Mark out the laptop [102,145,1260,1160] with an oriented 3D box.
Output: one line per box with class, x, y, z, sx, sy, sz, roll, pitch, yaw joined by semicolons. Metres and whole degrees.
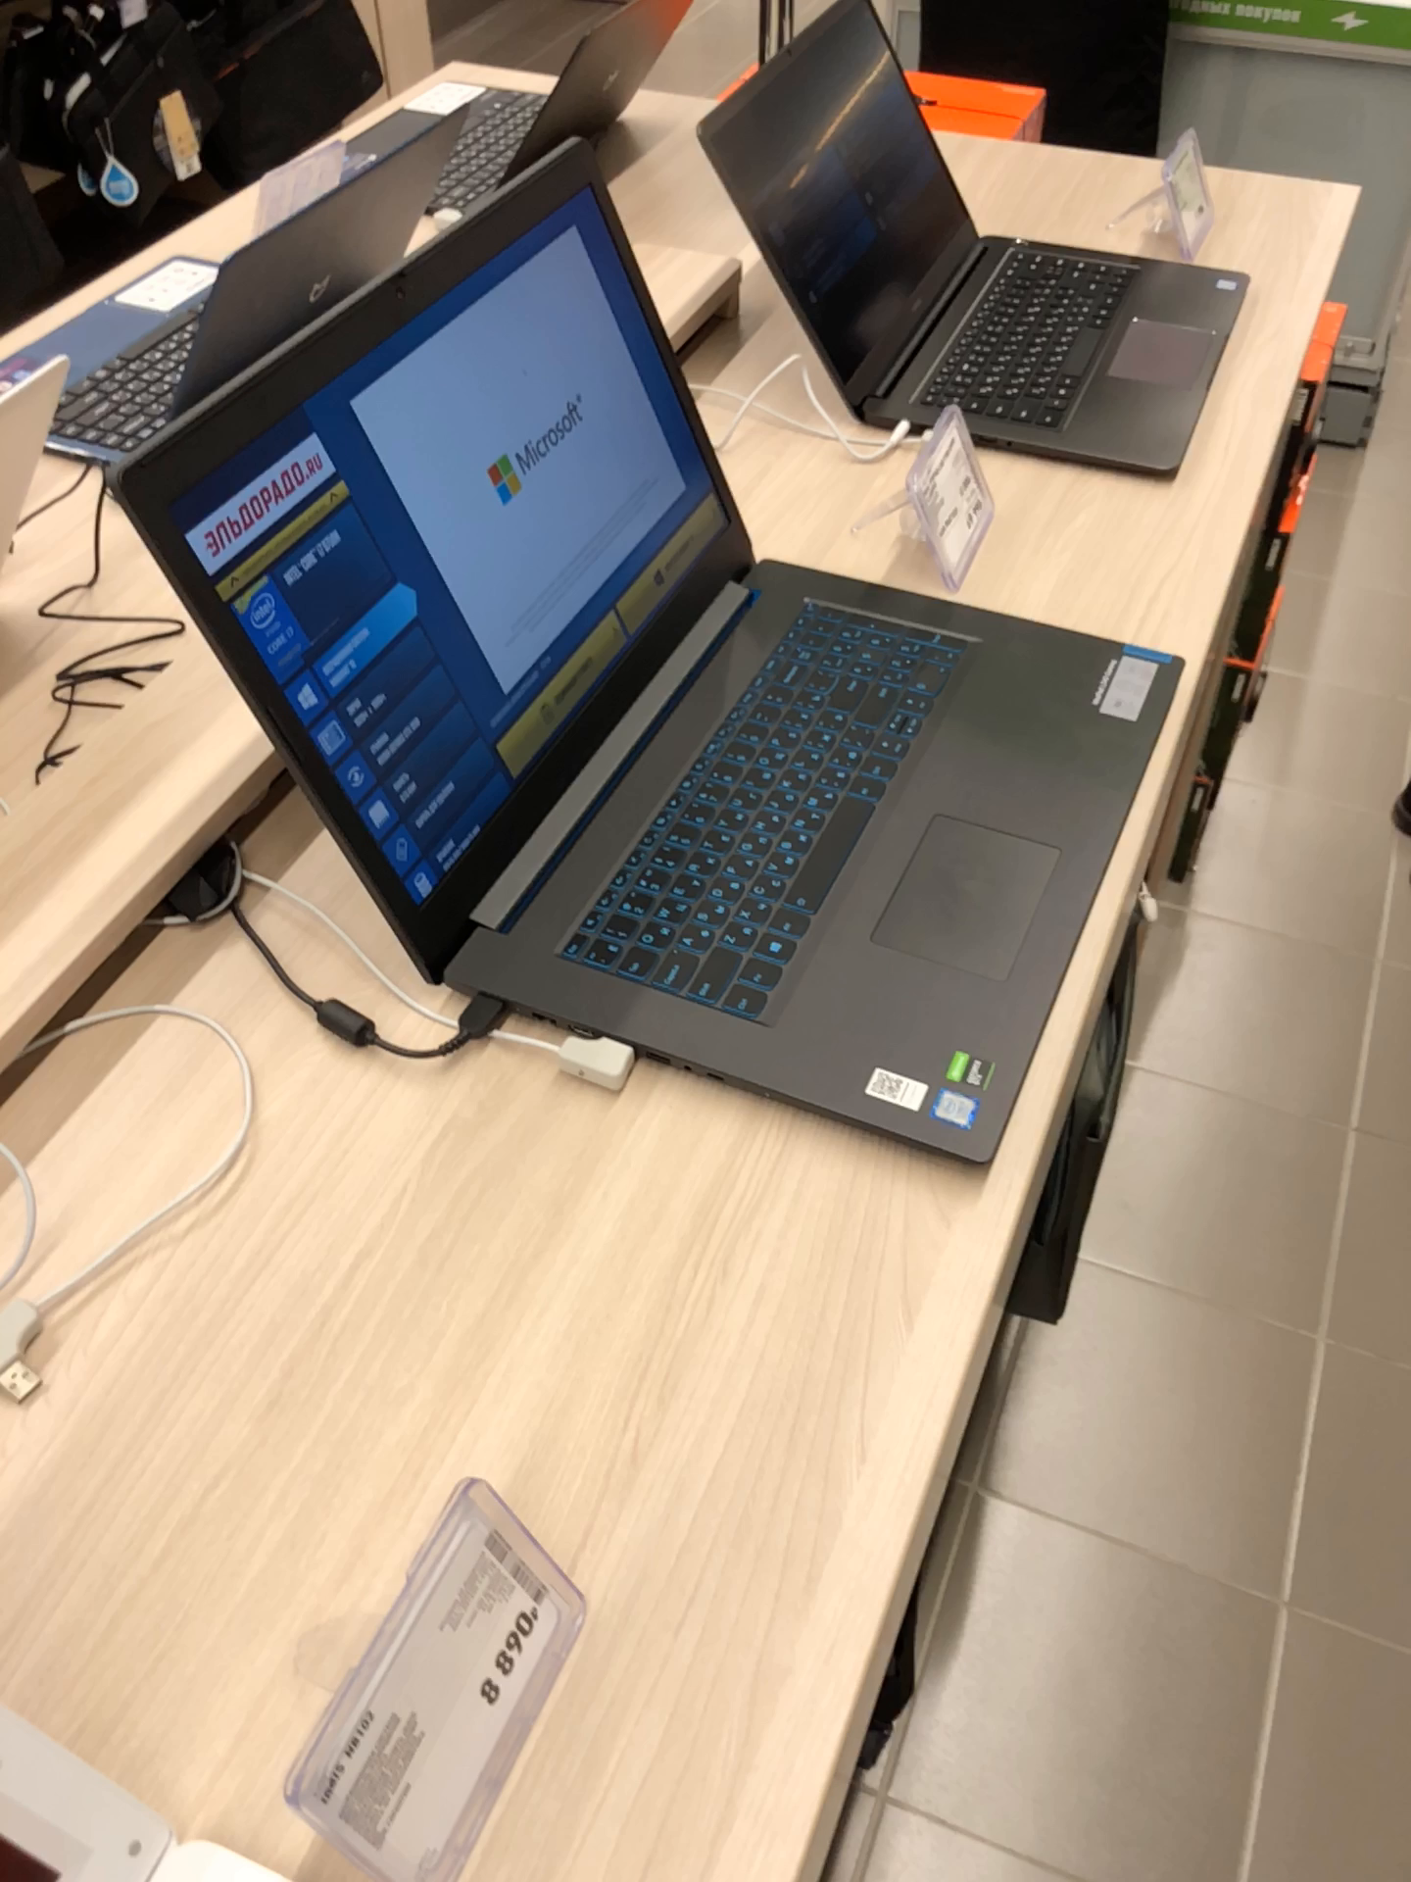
laptop;0.018;-0.174;0.770;0.380;0.242;0.397;17;48;17
